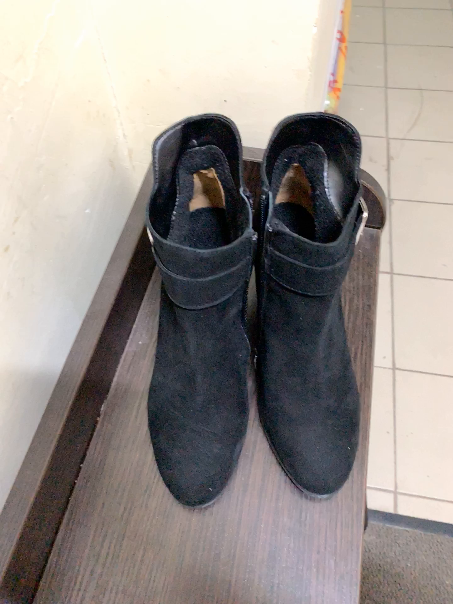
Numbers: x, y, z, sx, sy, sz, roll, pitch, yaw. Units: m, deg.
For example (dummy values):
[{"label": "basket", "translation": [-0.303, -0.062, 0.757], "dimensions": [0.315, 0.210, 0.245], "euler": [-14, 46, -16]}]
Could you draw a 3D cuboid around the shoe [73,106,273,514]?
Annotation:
[{"label": "shoe", "translation": [-0.022, 0.013, 0.349], "dimensions": [0.088, 0.190, 0.241], "euler": [-1, 57, 1]}]

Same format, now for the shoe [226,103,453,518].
[{"label": "shoe", "translation": [0.066, 0.012, 0.352], "dimensions": [0.088, 0.190, 0.241], "euler": [-9, 58, -4]}]
